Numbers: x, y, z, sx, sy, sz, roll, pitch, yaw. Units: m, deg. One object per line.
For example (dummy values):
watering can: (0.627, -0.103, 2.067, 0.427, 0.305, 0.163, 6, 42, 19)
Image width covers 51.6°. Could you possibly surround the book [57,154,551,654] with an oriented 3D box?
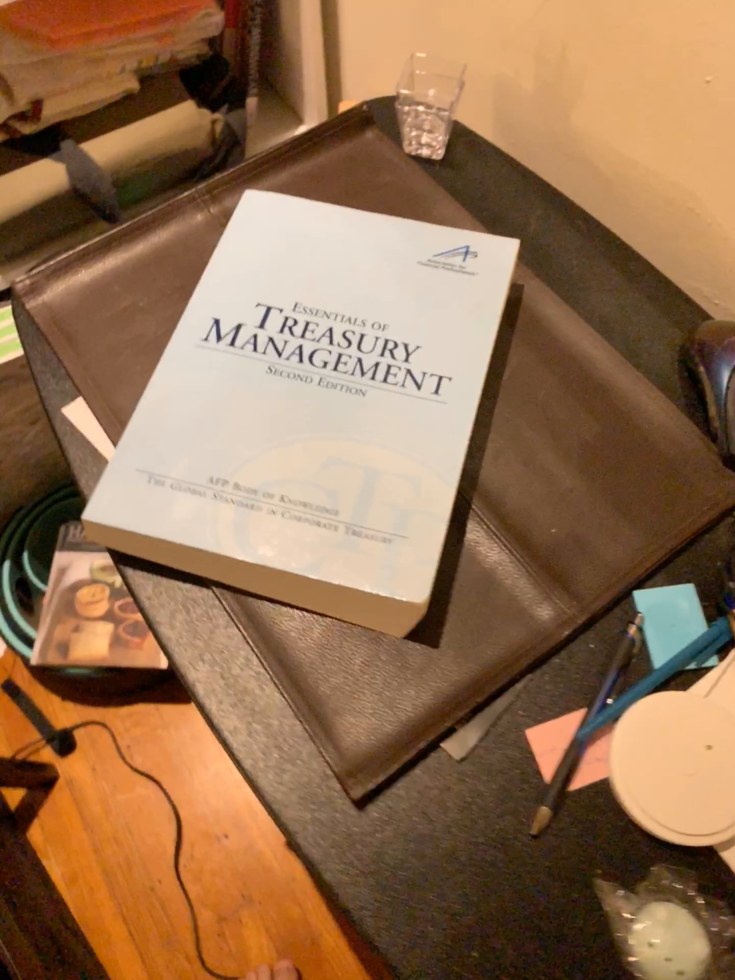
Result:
book: (-0.023, -0.074, 0.499, 0.220, 0.060, 0.301, 15, 65, 9)
